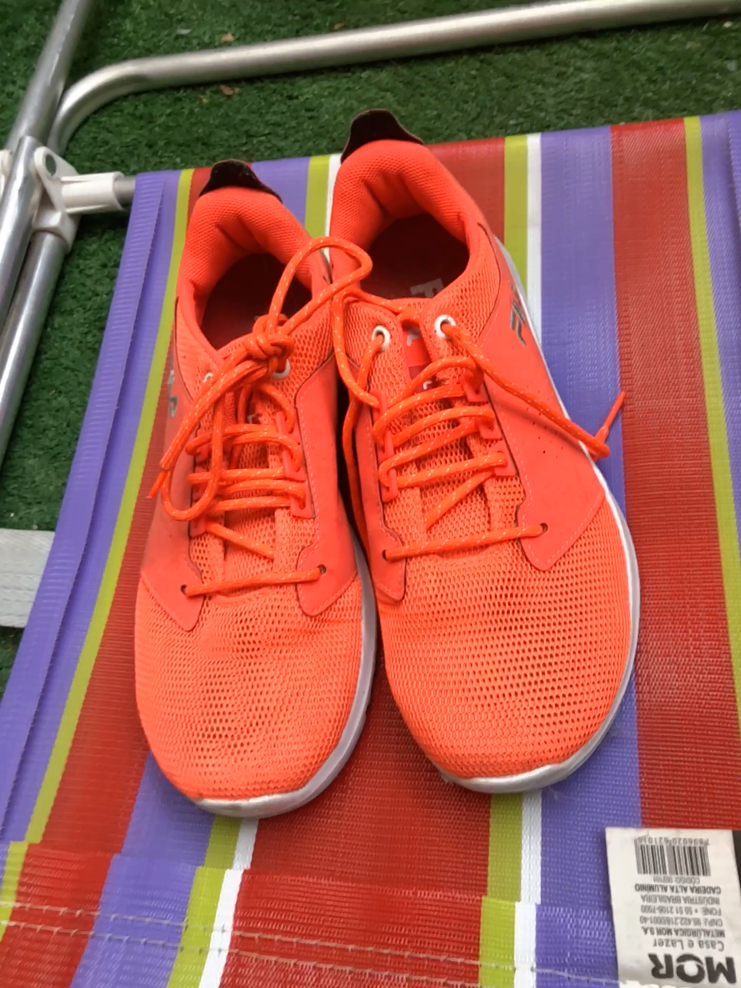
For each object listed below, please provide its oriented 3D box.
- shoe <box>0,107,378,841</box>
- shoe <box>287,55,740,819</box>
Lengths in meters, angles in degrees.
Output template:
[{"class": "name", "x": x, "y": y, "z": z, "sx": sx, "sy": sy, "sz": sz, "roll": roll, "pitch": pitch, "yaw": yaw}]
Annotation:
[{"class": "shoe", "x": -0.057, "y": -0.007, "z": 0.289, "sx": 0.100, "sy": 0.100, "sz": 0.231, "roll": -5, "pitch": 64, "yaw": 6}, {"class": "shoe", "x": 0.039, "y": -0.024, "z": 0.299, "sx": 0.100, "sy": 0.090, "sz": 0.251, "roll": -11, "pitch": 63, "yaw": 10}]
